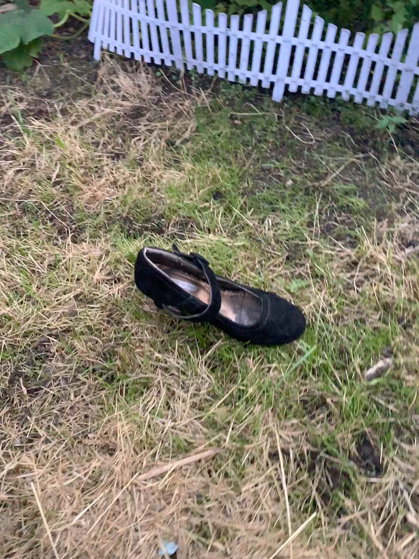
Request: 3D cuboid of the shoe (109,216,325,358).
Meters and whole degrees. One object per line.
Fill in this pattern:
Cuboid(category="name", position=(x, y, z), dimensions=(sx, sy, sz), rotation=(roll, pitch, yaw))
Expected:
Cuboid(category="shoe", position=(0.015, 0.007, 0.572), dimensions=(0.250, 0.109, 0.111), rotation=(8, 52, 10))
